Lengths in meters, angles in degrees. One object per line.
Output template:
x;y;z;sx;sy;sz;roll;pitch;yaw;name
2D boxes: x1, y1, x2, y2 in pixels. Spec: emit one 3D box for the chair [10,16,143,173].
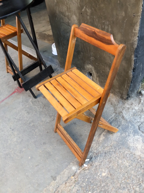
0.050;0.013;1.104;0.501;0.854;0.482;-31;47;-20;chair
